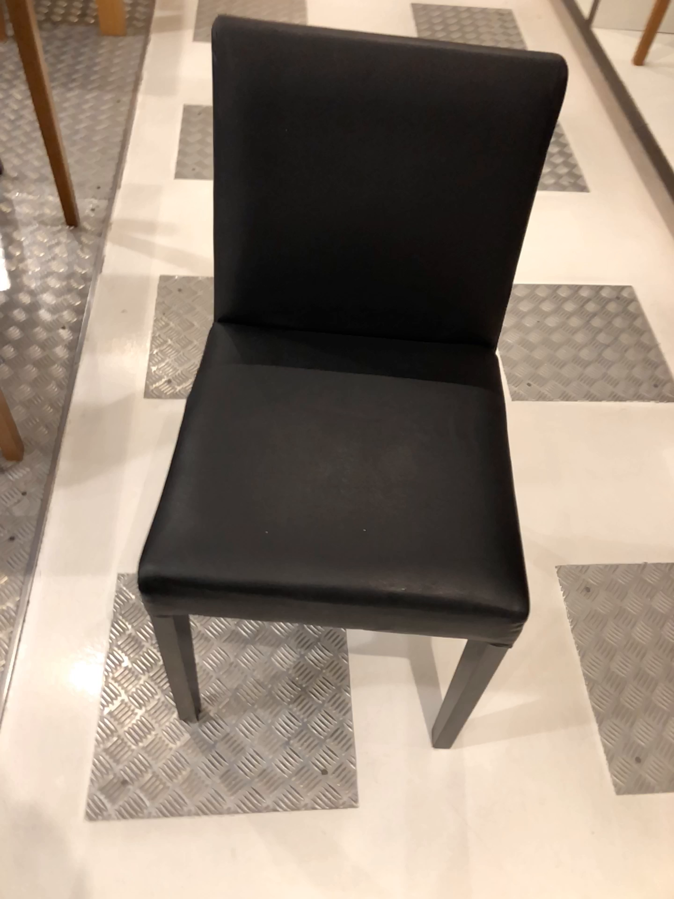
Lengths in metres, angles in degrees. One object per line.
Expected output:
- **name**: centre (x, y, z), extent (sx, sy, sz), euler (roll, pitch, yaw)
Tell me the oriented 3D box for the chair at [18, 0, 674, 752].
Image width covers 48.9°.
- **chair**: centre (0.008, -0.020, 0.997), extent (0.470, 0.825, 0.554), euler (6, 52, -1)
